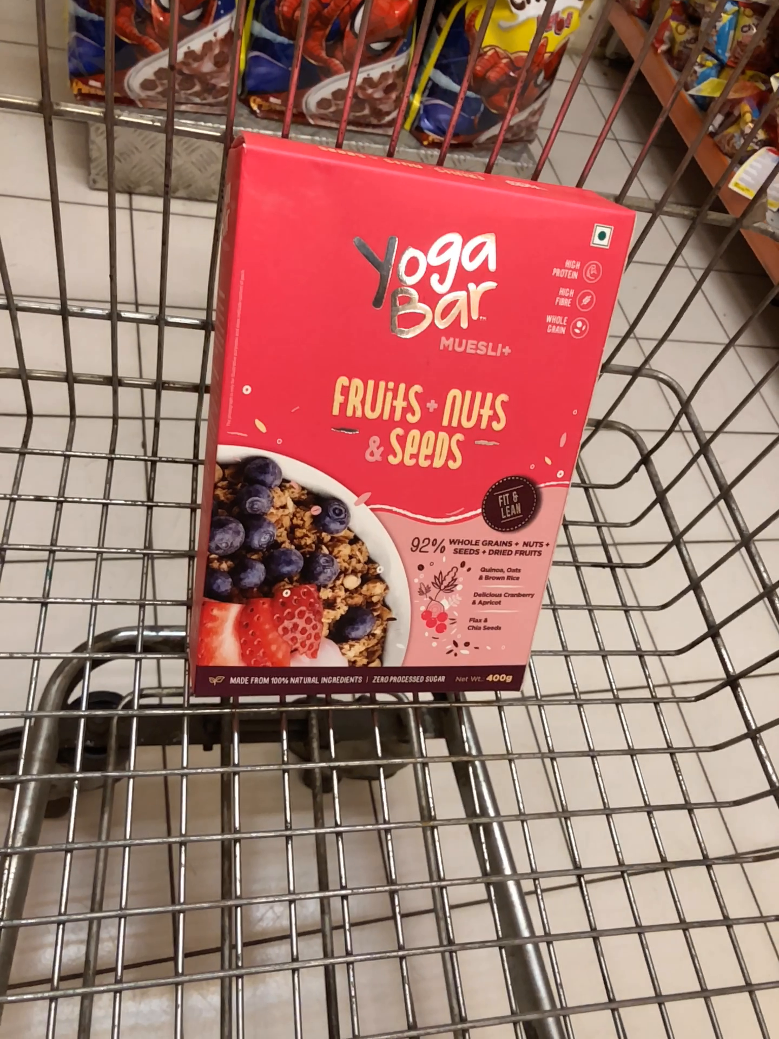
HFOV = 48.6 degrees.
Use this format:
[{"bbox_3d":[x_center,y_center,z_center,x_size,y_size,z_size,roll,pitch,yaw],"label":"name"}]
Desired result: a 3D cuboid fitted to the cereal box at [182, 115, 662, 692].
[{"bbox_3d":[0.002,-0.039,0.396,0.170,0.239,0.060,3,23,-17],"label":"cereal box"}]
